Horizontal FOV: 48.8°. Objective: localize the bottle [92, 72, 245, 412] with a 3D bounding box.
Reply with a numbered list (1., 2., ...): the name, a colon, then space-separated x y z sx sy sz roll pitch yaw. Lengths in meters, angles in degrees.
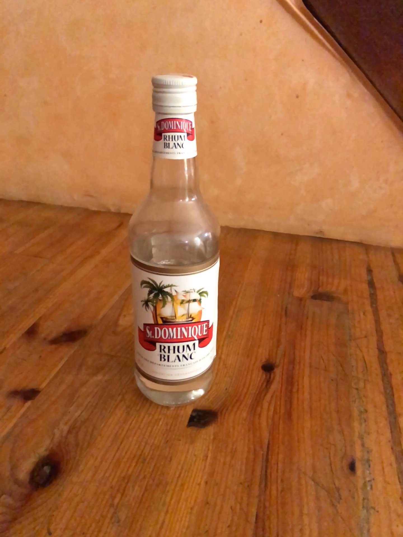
1. bottle: -0.020 -0.013 0.356 0.090 0.259 0.080 2 27 1
